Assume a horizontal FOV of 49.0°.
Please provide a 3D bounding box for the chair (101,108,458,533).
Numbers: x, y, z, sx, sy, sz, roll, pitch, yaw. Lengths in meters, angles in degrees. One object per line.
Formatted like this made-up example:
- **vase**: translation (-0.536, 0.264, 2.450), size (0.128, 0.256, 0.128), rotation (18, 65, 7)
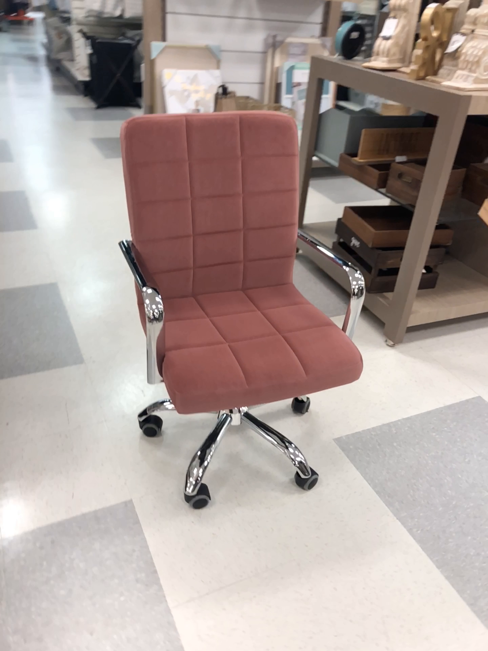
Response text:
- **chair**: translation (0.007, -0.054, 1.351), size (0.575, 0.819, 0.564), rotation (-9, 34, -22)
